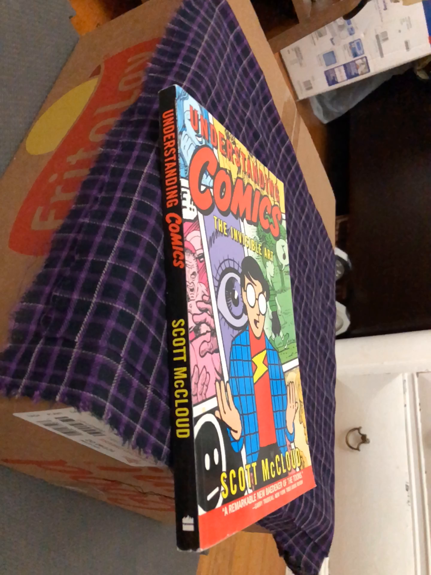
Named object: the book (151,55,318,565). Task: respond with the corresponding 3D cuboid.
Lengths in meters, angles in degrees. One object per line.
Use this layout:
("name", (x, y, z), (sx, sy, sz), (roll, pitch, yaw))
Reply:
("book", (0.019, 0.011, 0.325), (0.171, 0.020, 0.270), (20, 63, -59))
